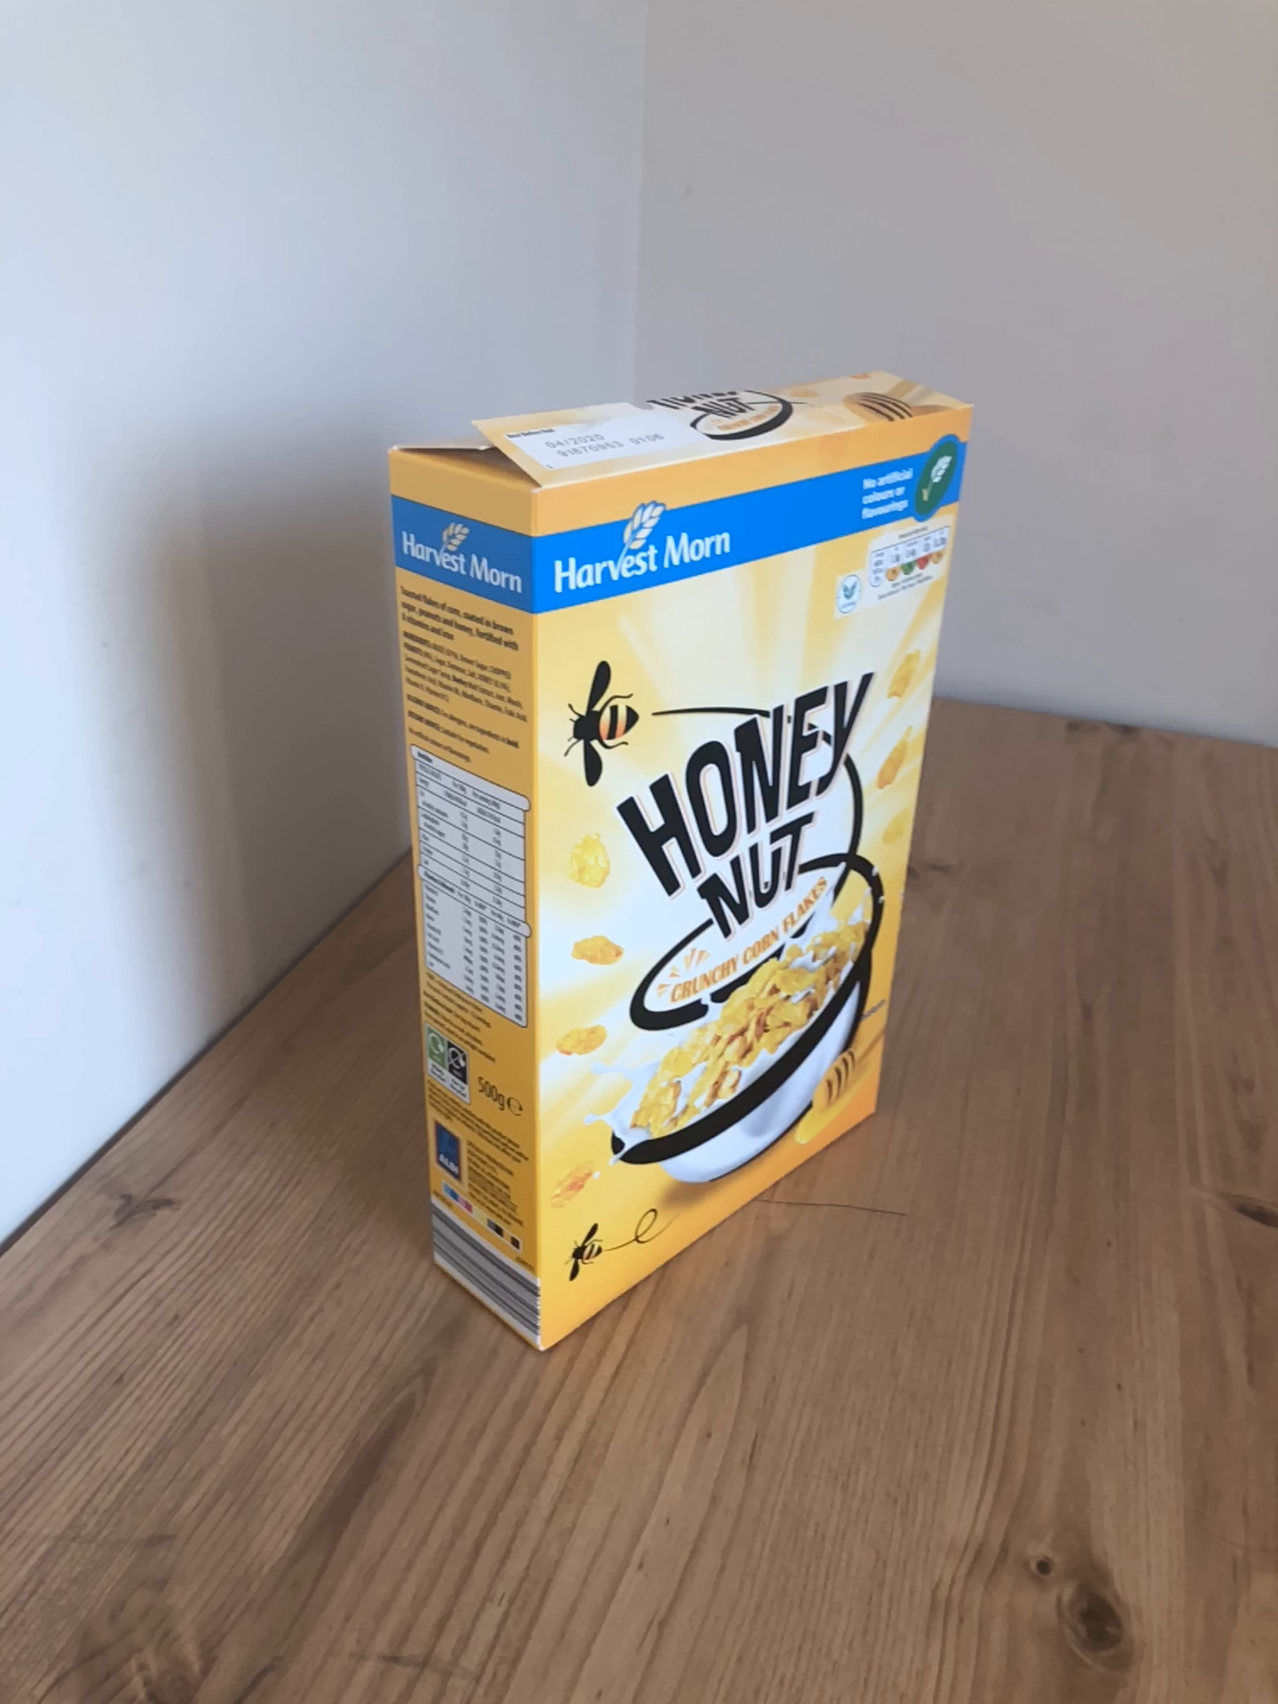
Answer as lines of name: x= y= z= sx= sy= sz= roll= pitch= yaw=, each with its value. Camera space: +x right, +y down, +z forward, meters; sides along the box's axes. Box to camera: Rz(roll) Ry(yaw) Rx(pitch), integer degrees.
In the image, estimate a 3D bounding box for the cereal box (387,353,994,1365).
cereal box: x=0.020 y=-0.003 z=0.487 sx=0.060 sy=0.298 sz=0.201 roll=26 pitch=35 yaw=38
